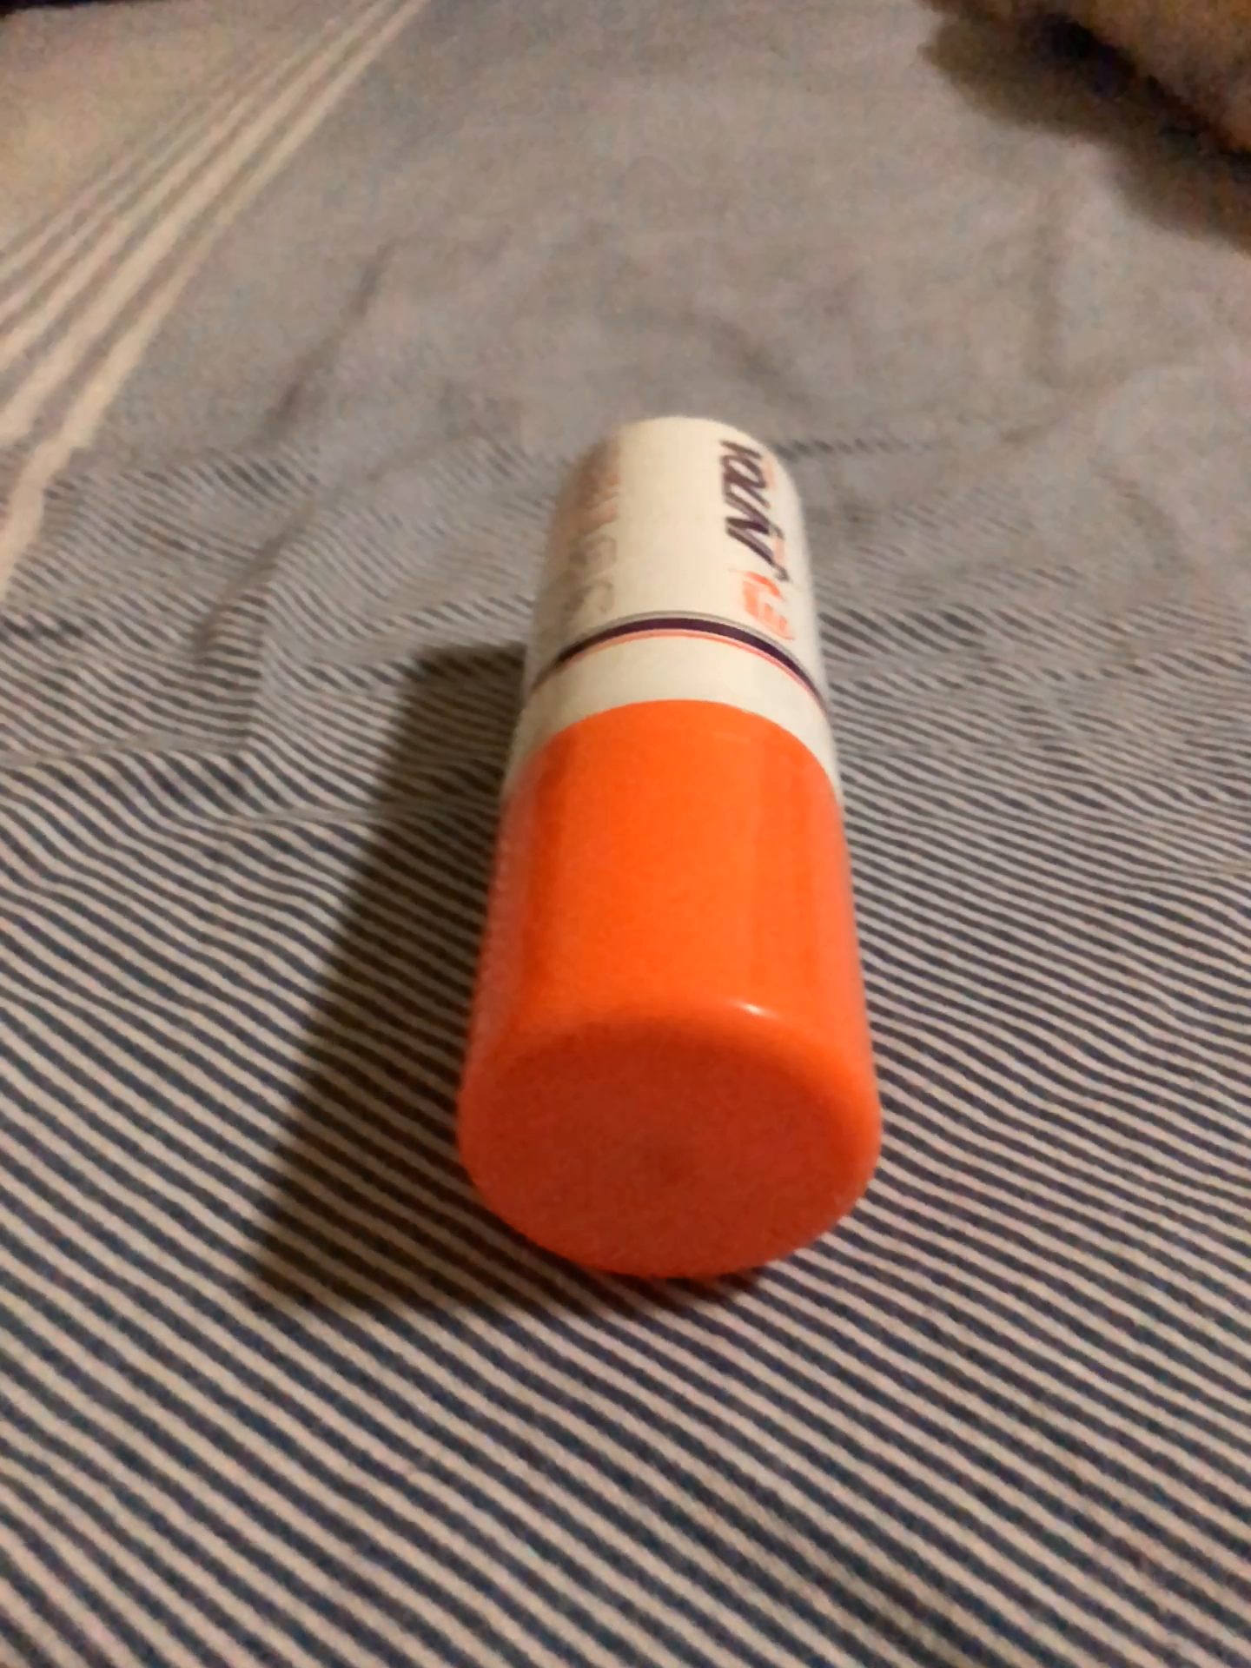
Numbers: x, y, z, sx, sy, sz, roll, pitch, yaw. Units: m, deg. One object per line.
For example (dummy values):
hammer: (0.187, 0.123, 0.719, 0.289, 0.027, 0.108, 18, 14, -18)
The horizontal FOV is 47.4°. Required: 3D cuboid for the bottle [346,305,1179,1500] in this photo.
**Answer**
bottle: (0.010, -0.006, 0.144, 0.040, 0.040, 0.120, 28, 33, -19)
